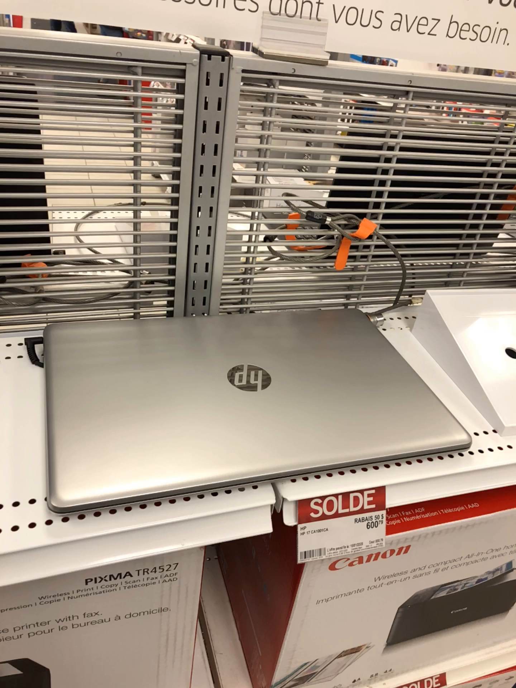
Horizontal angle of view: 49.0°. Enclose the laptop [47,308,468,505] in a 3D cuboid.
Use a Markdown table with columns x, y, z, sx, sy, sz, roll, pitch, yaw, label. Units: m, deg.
| x | y | z | sx | sy | sz | roll | pitch | yaw | label |
| --- | --- | --- | --- | --- | --- | --- | --- | --- | --- |
| -0.017 | 0.041 | 0.643 | 0.416 | 0.002 | 0.278 | -4 | 35 | -18 | laptop |
